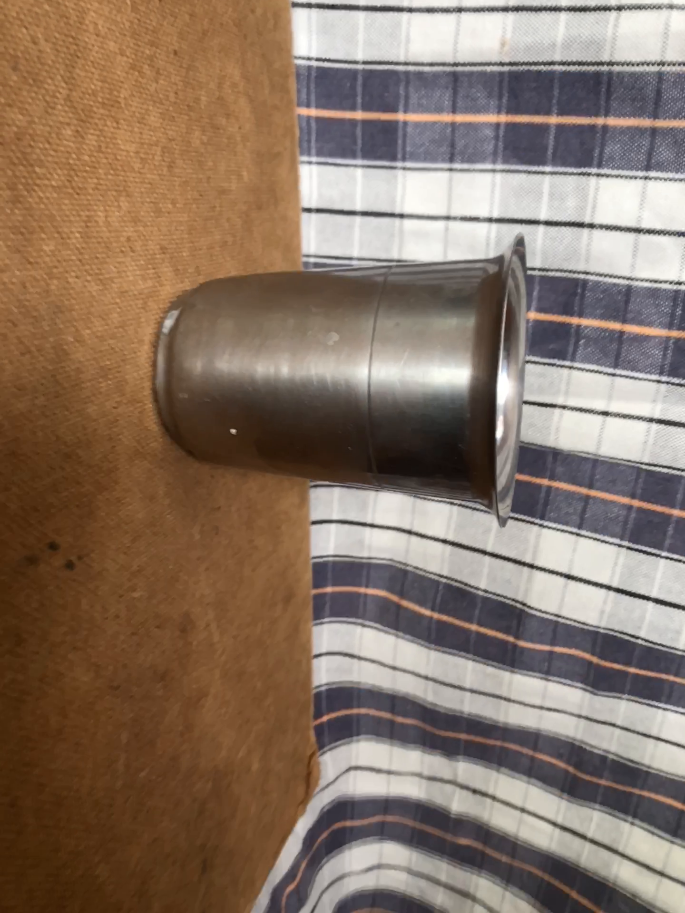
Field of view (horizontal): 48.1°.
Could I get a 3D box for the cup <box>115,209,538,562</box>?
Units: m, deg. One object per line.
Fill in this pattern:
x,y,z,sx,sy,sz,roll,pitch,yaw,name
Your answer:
0.004,-0.016,0.230,0.080,0.100,0.080,3,90,-75,cup
